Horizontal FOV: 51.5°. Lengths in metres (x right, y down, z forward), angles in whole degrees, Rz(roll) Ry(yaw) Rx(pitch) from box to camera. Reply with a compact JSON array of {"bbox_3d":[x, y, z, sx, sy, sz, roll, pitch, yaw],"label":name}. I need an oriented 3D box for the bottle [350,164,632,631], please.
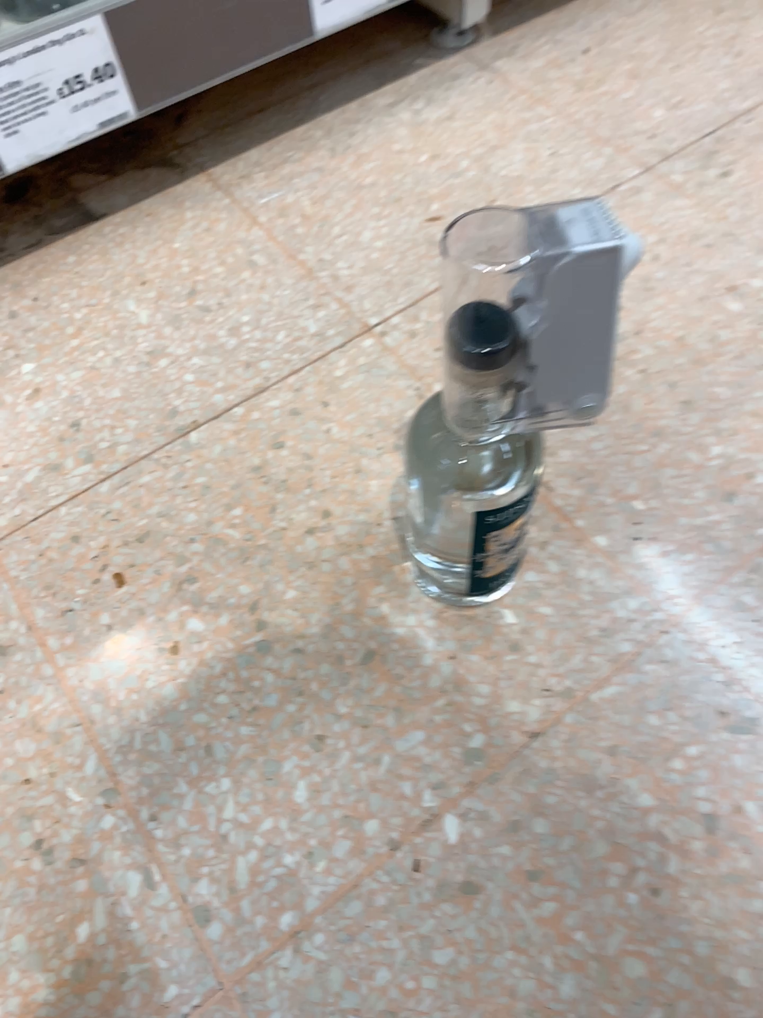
[{"bbox_3d":[0.045,-0.034,0.379,0.074,0.222,0.069,-2,57,3],"label":"bottle"}]
